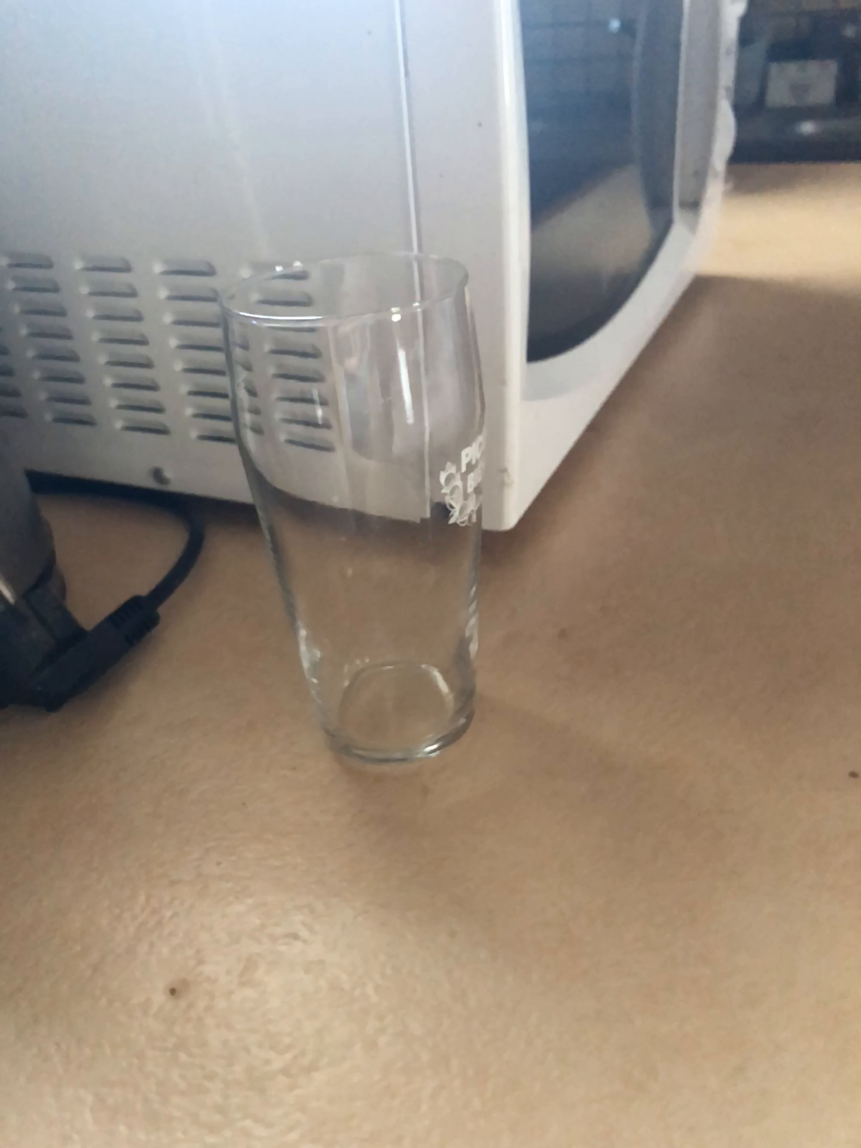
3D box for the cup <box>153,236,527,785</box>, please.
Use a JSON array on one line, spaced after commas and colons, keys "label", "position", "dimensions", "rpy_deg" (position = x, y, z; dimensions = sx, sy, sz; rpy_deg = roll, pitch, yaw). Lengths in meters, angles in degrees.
[{"label": "cup", "position": [-0.015, -0.018, 0.267], "dimensions": [0.070, 0.129, 0.070], "rpy_deg": [-4, 30, 2]}]
